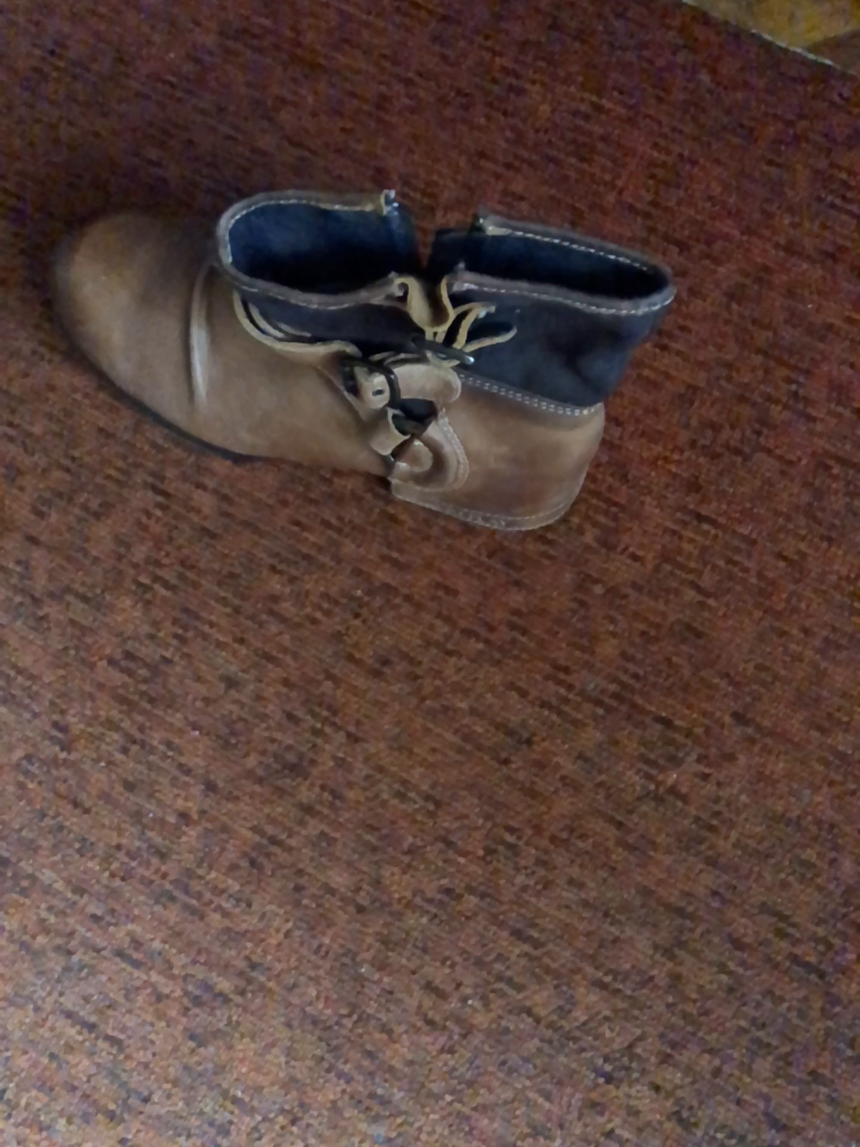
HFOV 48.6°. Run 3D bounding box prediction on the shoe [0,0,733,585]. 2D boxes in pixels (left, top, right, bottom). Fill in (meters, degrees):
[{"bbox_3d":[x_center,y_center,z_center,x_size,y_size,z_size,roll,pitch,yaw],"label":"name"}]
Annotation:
[{"bbox_3d":[-0.054,-0.116,0.392,0.280,0.190,0.110,21,79,6],"label":"shoe"}]
